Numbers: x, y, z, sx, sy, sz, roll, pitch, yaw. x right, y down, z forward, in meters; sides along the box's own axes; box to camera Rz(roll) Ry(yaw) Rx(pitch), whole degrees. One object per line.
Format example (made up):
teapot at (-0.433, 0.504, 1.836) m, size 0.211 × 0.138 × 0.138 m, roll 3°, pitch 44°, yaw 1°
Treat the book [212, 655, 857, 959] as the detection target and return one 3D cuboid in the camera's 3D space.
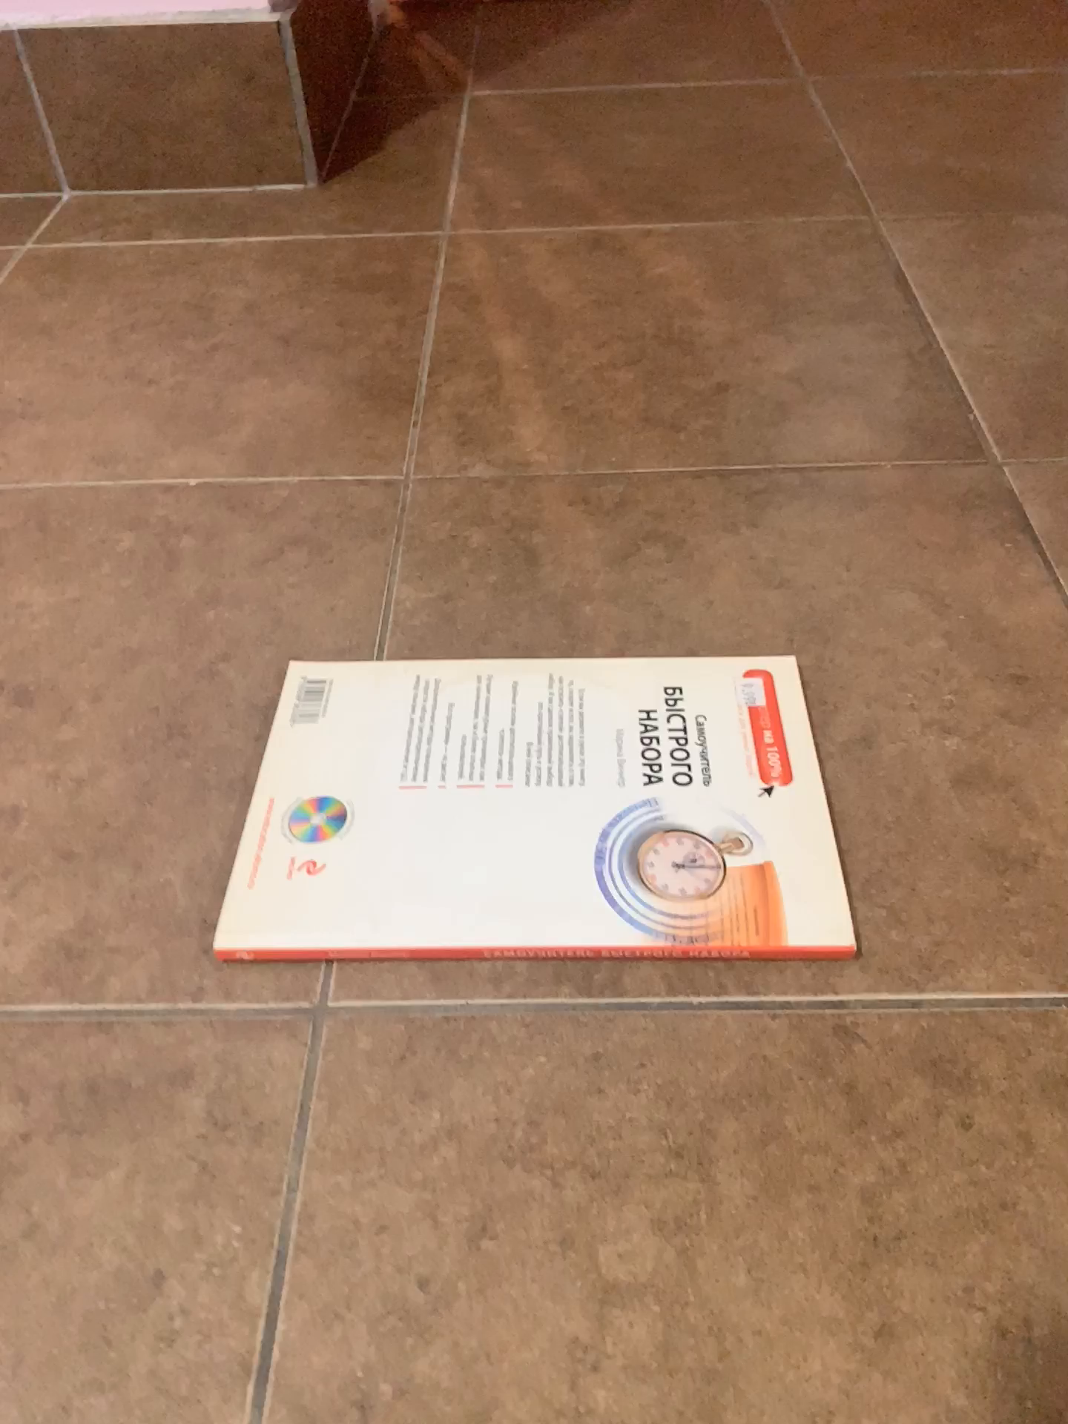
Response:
book at (0.001, 0.029, 0.406) m, size 0.210 × 0.009 × 0.135 m, roll 0°, pitch 46°, yaw 3°
